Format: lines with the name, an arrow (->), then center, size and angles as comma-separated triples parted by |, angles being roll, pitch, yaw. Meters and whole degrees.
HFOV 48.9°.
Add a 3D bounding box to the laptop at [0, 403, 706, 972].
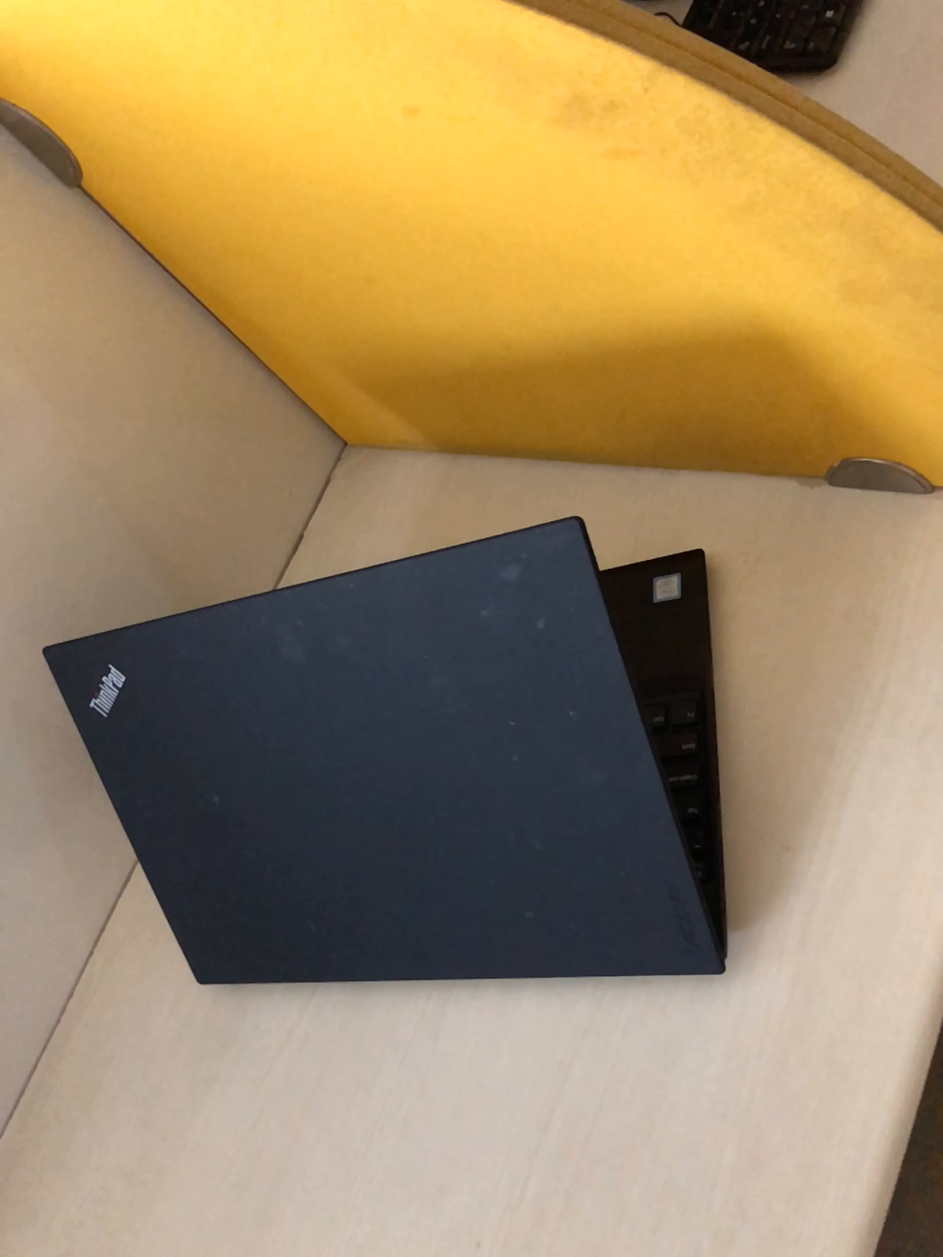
laptop -> -0.066, 0.056, 0.595 | 0.349, 0.166, 0.240 | -13, 54, 28
